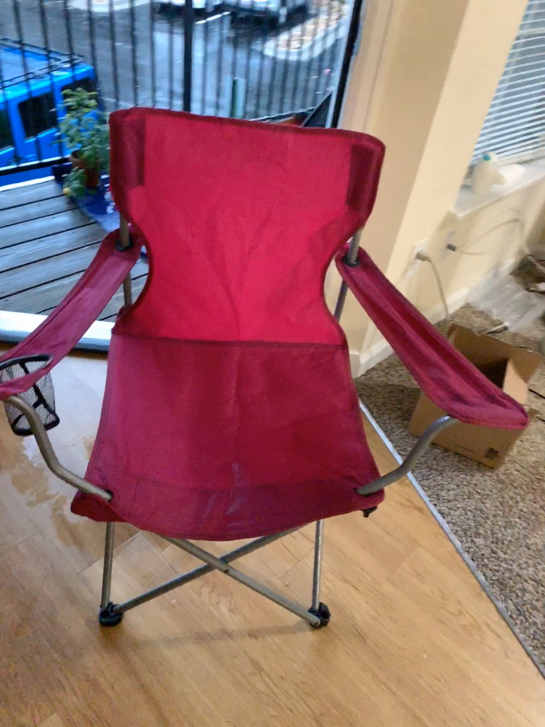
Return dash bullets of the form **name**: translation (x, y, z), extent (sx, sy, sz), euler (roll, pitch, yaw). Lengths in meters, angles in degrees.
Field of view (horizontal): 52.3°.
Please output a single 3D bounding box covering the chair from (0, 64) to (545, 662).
- **chair**: translation (-0.062, 0.014, 1.007), extent (0.650, 0.776, 0.673), euler (5, 41, -5)
